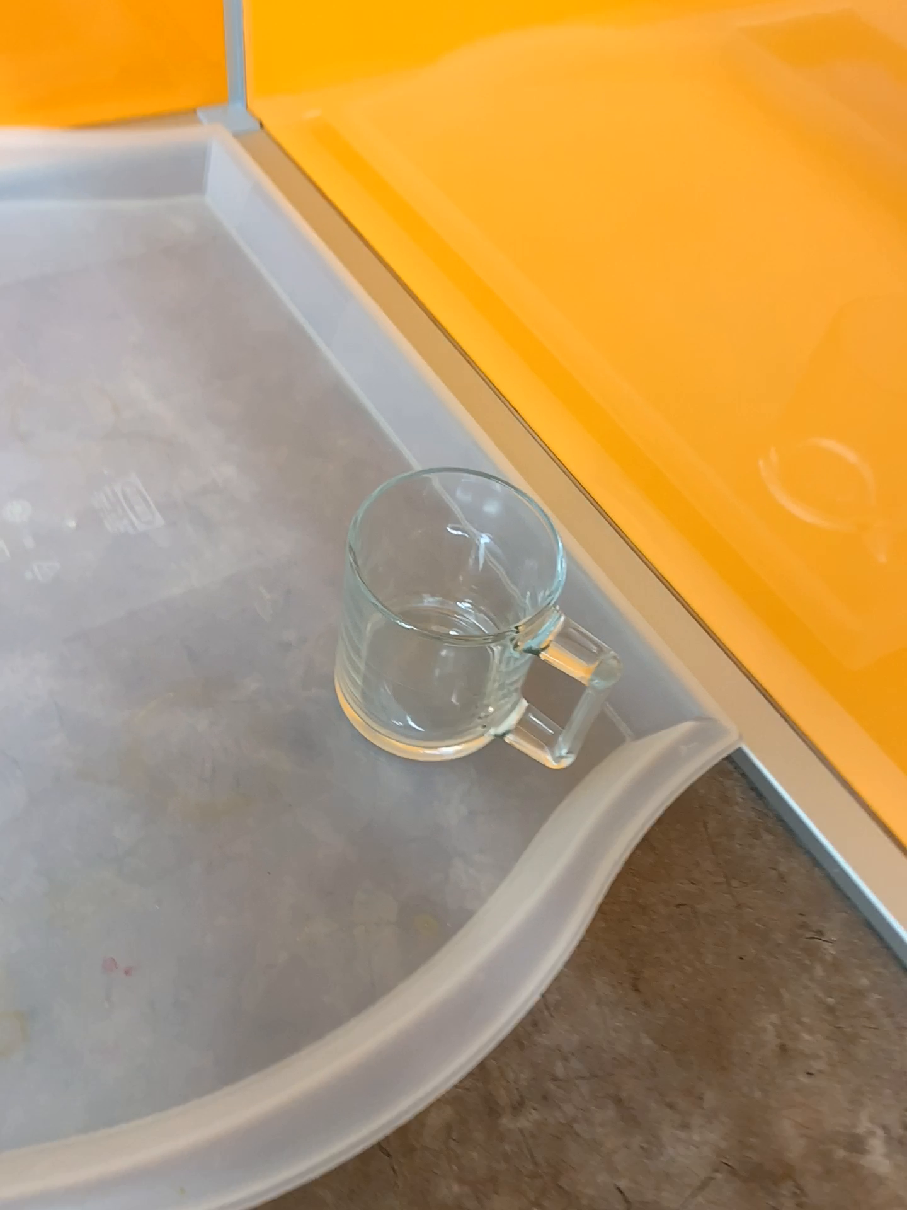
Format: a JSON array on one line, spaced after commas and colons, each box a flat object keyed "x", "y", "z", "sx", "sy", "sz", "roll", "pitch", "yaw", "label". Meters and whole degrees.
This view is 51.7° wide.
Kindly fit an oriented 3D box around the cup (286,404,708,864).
[{"x": 0.008, "y": 0.013, "z": 0.342, "sx": 0.109, "sy": 0.104, "sz": 0.082, "roll": 36, "pitch": 58, "yaw": 13, "label": "cup"}]
